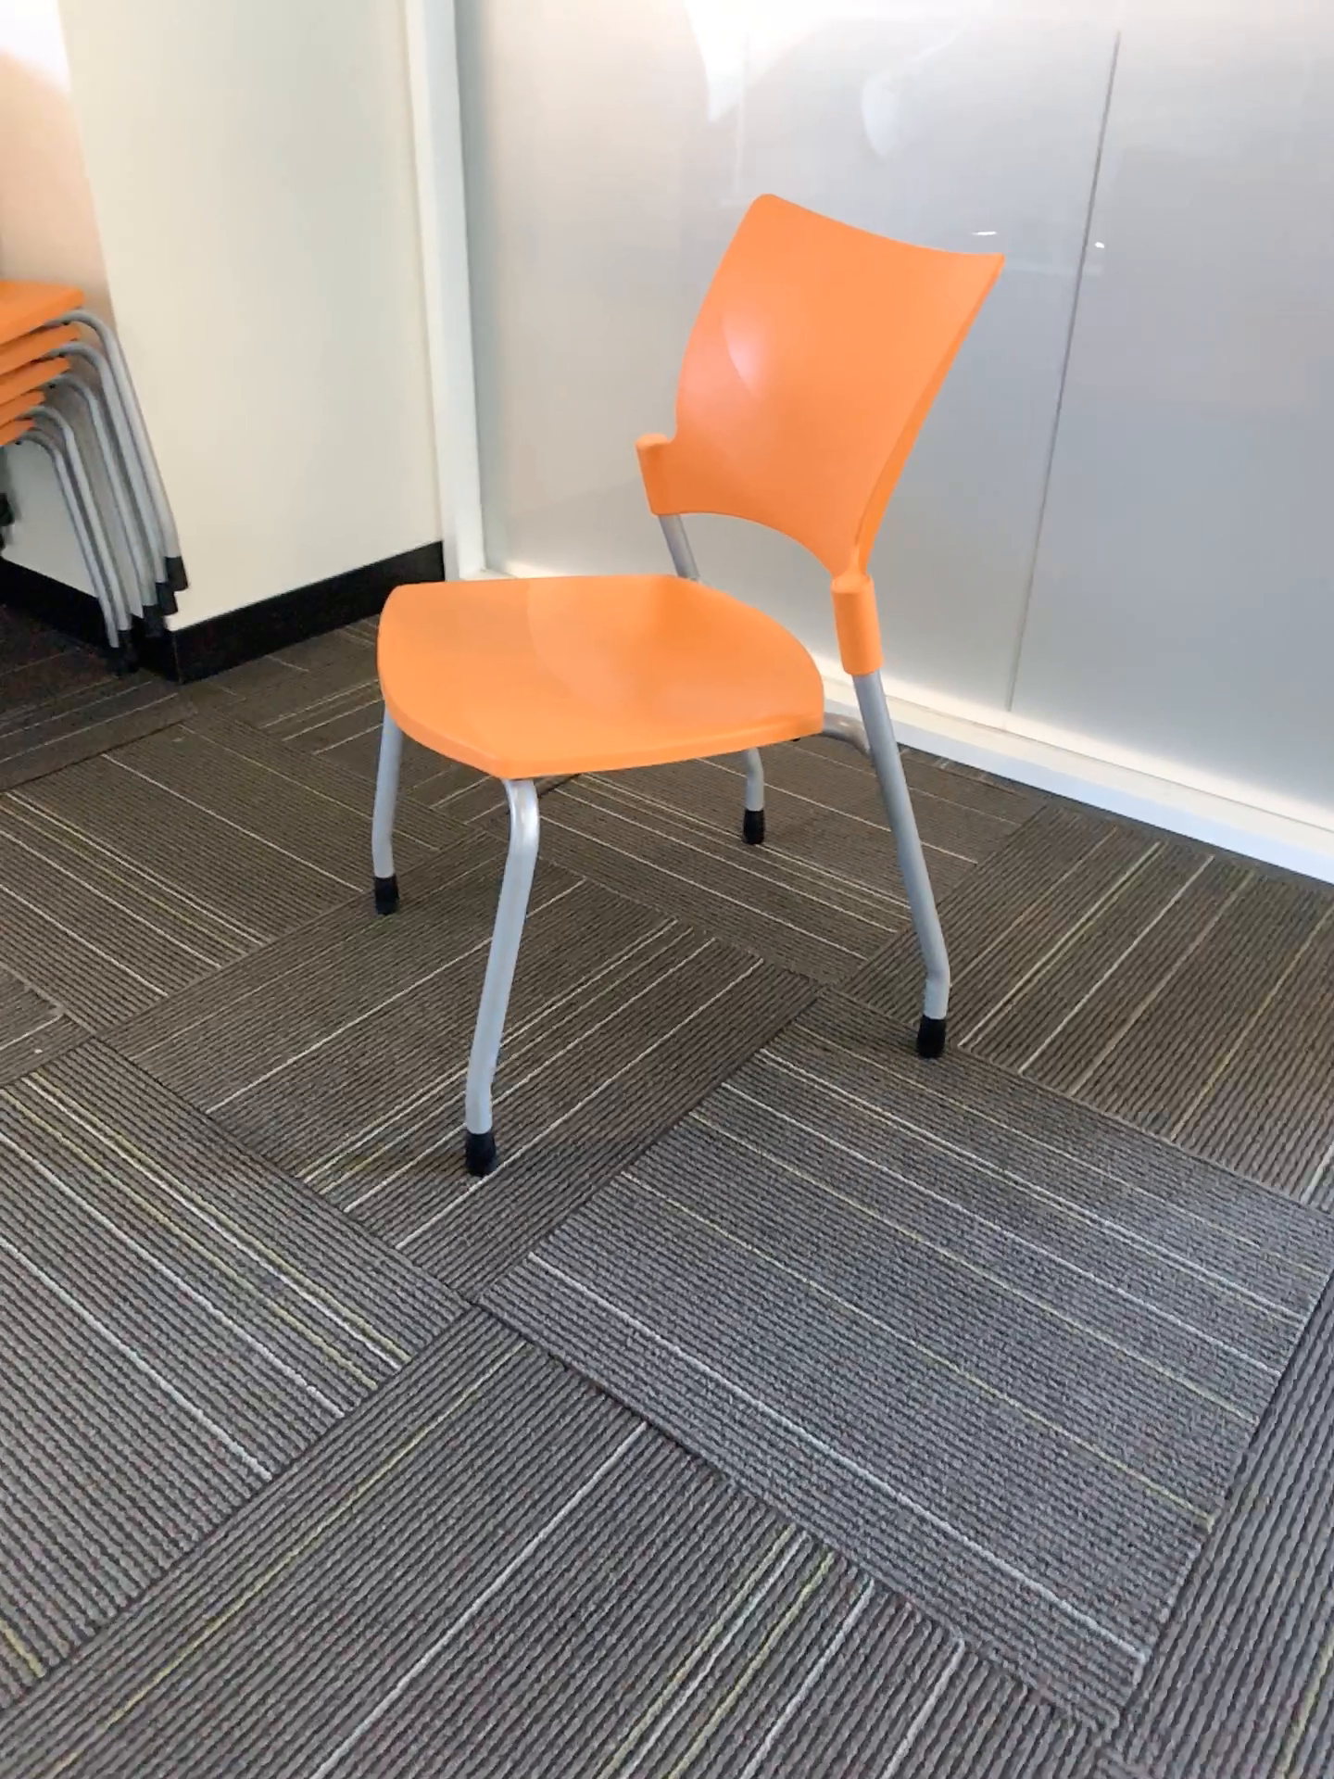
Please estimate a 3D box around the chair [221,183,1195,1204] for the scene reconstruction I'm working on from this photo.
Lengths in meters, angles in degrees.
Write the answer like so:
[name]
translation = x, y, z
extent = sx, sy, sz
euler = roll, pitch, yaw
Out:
[chair]
translation = -0.024, -0.273, 1.468
extent = 0.680, 0.795, 0.684
euler = -12, 35, -19
